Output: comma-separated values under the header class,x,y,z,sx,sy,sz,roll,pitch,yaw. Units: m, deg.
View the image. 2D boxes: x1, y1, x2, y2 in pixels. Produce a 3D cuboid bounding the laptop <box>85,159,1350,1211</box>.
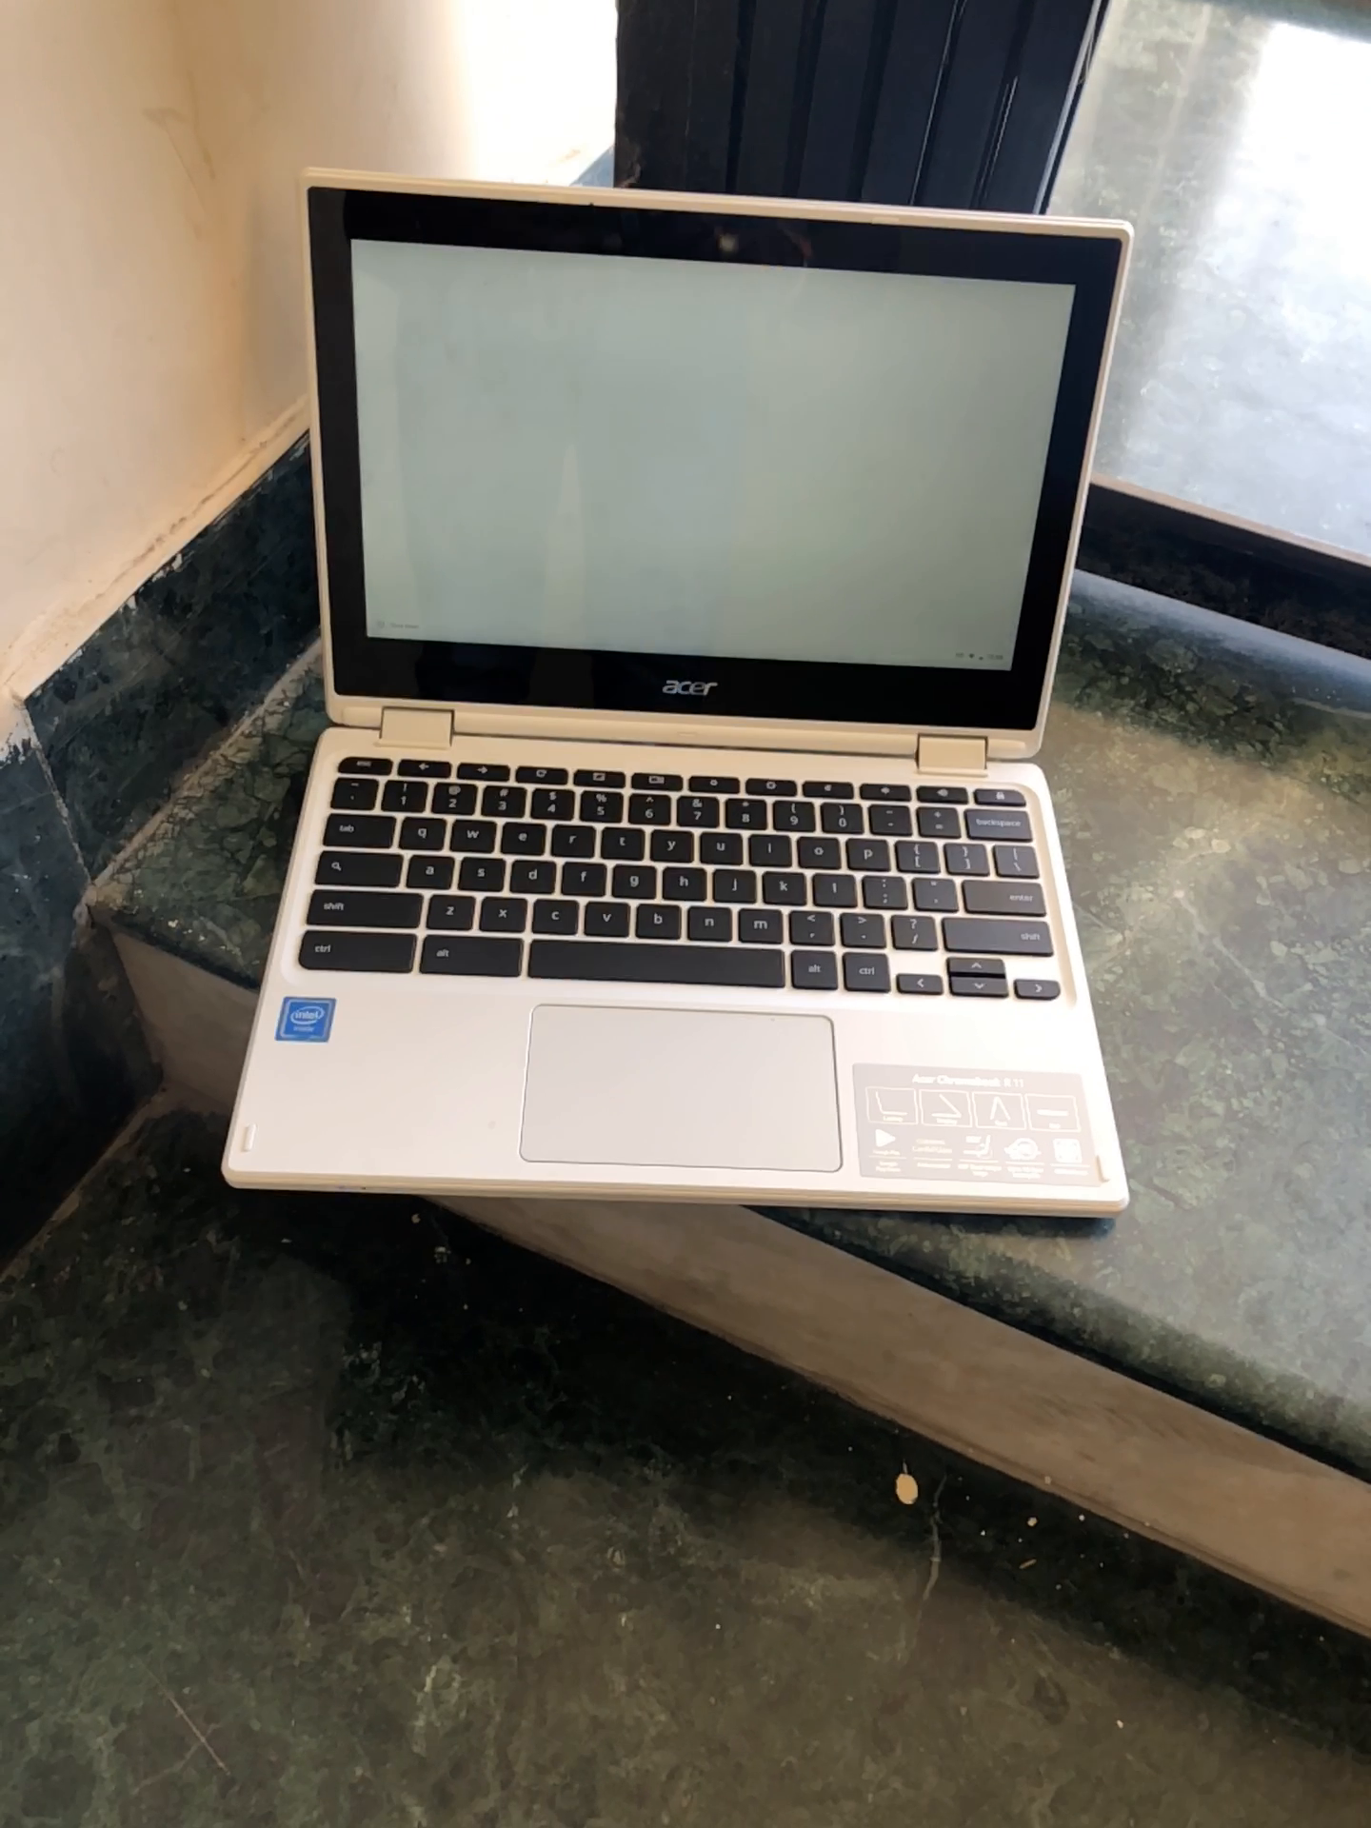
class,x,y,z,sx,sy,sz,roll,pitch,yaw
laptop,0.006,-0.078,0.483,0.278,0.178,0.272,3,50,-3
